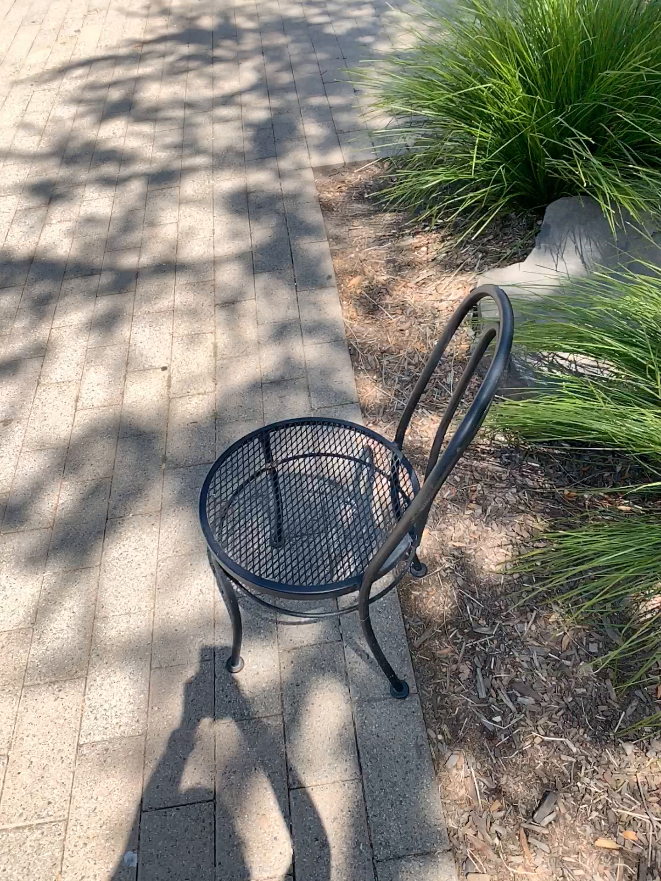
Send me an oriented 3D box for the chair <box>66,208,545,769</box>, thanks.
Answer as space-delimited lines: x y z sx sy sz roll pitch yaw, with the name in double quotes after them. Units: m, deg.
0.038 0.158 1.276 0.532 0.997 0.460 8 50 13 "chair"
